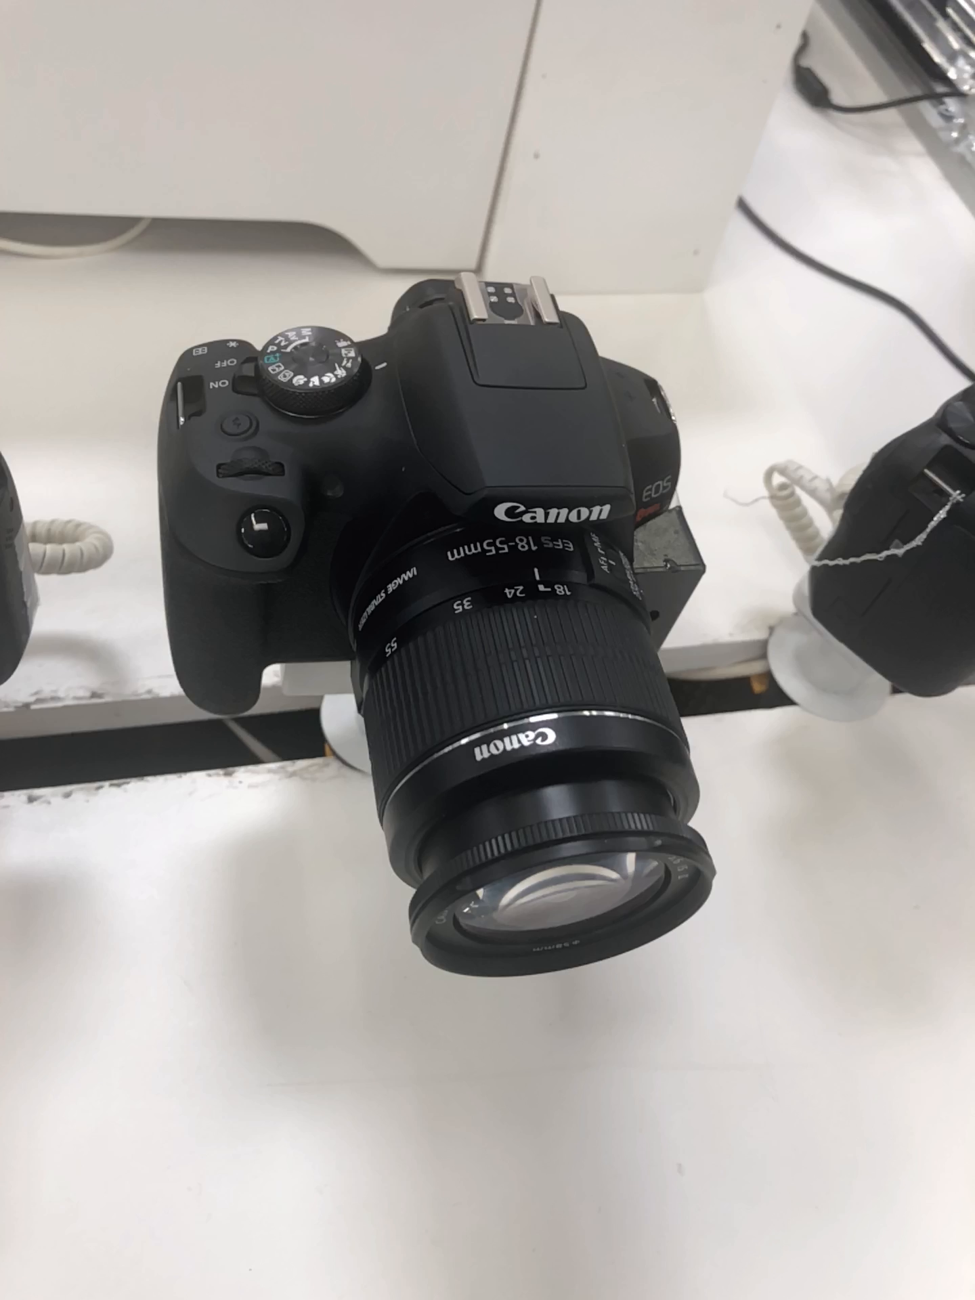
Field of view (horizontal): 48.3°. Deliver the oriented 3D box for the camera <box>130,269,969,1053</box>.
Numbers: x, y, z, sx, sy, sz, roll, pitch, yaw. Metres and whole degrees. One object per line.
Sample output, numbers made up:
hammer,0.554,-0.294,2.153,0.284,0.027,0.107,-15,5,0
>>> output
camera,-0.002,-0.003,0.243,0.130,0.092,0.132,-7,57,-17
